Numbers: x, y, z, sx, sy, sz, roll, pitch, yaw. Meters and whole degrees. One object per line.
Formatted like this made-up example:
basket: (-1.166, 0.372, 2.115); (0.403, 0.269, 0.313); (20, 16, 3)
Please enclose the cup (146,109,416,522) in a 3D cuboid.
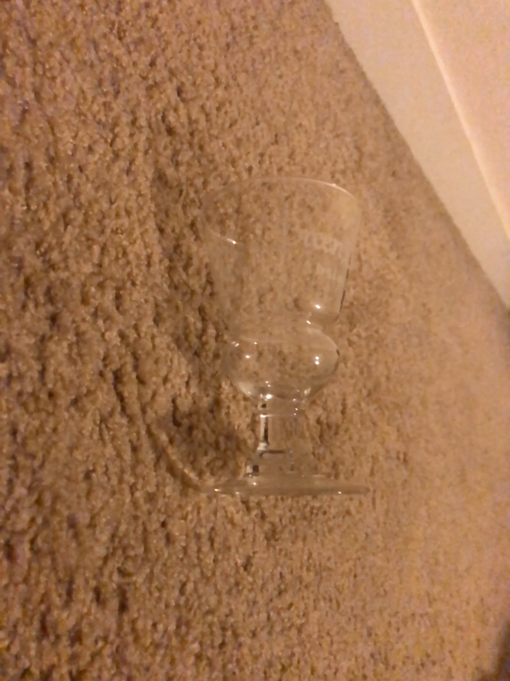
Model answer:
cup: (0.012, -0.002, 0.269); (0.095, 0.078, 0.157); (16, 66, -55)
